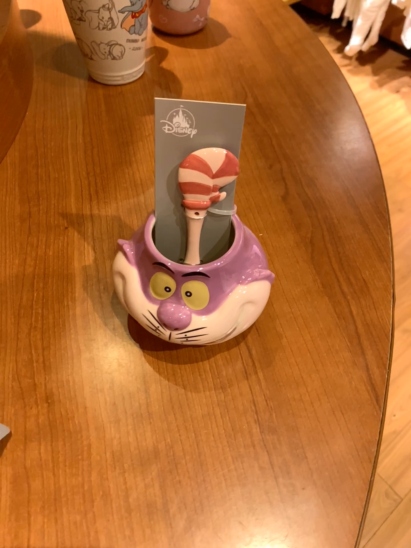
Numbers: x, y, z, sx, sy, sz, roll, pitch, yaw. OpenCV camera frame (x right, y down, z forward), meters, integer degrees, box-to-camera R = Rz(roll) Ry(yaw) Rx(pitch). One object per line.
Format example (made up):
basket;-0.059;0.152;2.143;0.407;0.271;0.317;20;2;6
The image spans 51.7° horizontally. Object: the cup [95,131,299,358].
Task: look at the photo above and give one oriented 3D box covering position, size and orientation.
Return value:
cup;-0.010;-0.025;0.309;0.114;0.077;0.143;-4;54;-3
